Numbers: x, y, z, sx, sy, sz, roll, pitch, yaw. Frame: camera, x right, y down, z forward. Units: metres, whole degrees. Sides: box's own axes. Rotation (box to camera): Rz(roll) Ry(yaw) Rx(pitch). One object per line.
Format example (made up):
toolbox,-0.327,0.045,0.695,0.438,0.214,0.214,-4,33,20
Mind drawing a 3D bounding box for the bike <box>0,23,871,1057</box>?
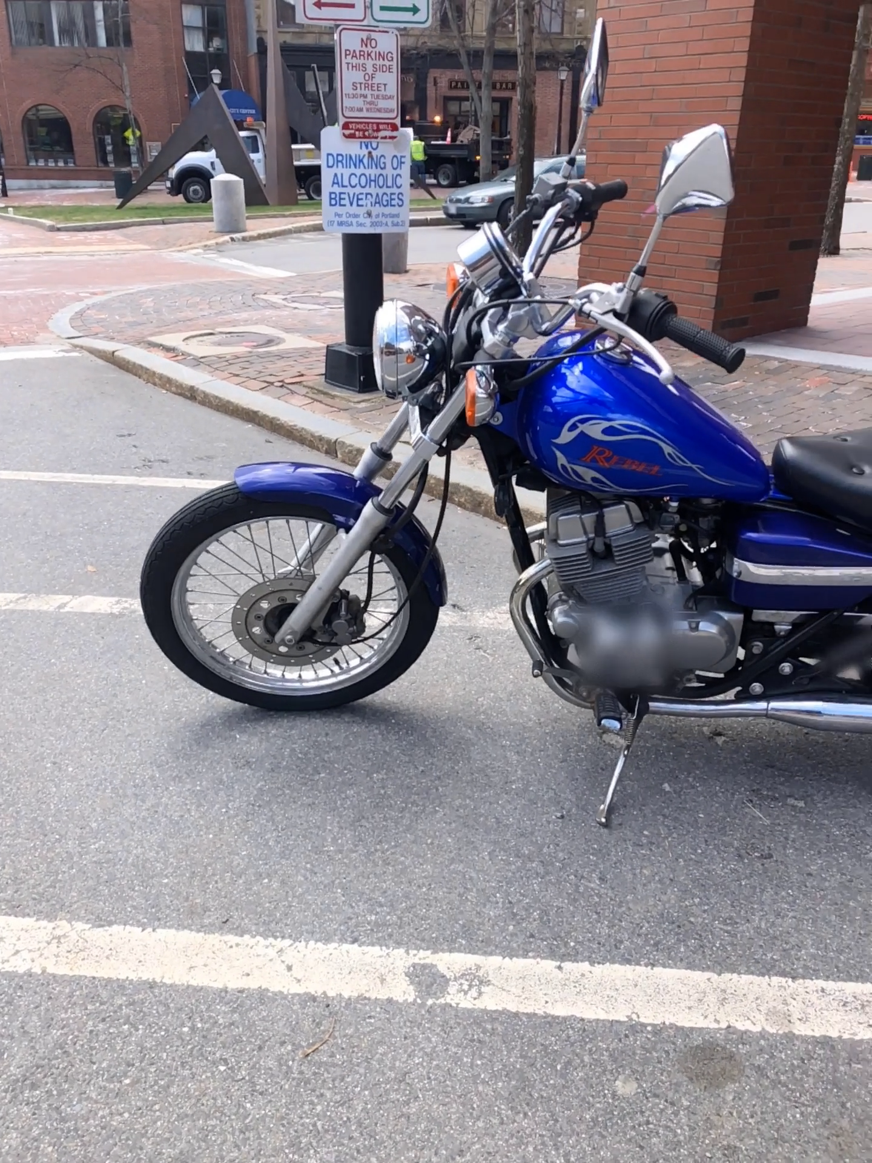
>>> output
bike,0.470,-0.067,1.556,2.024,1.179,0.930,3,24,-3
